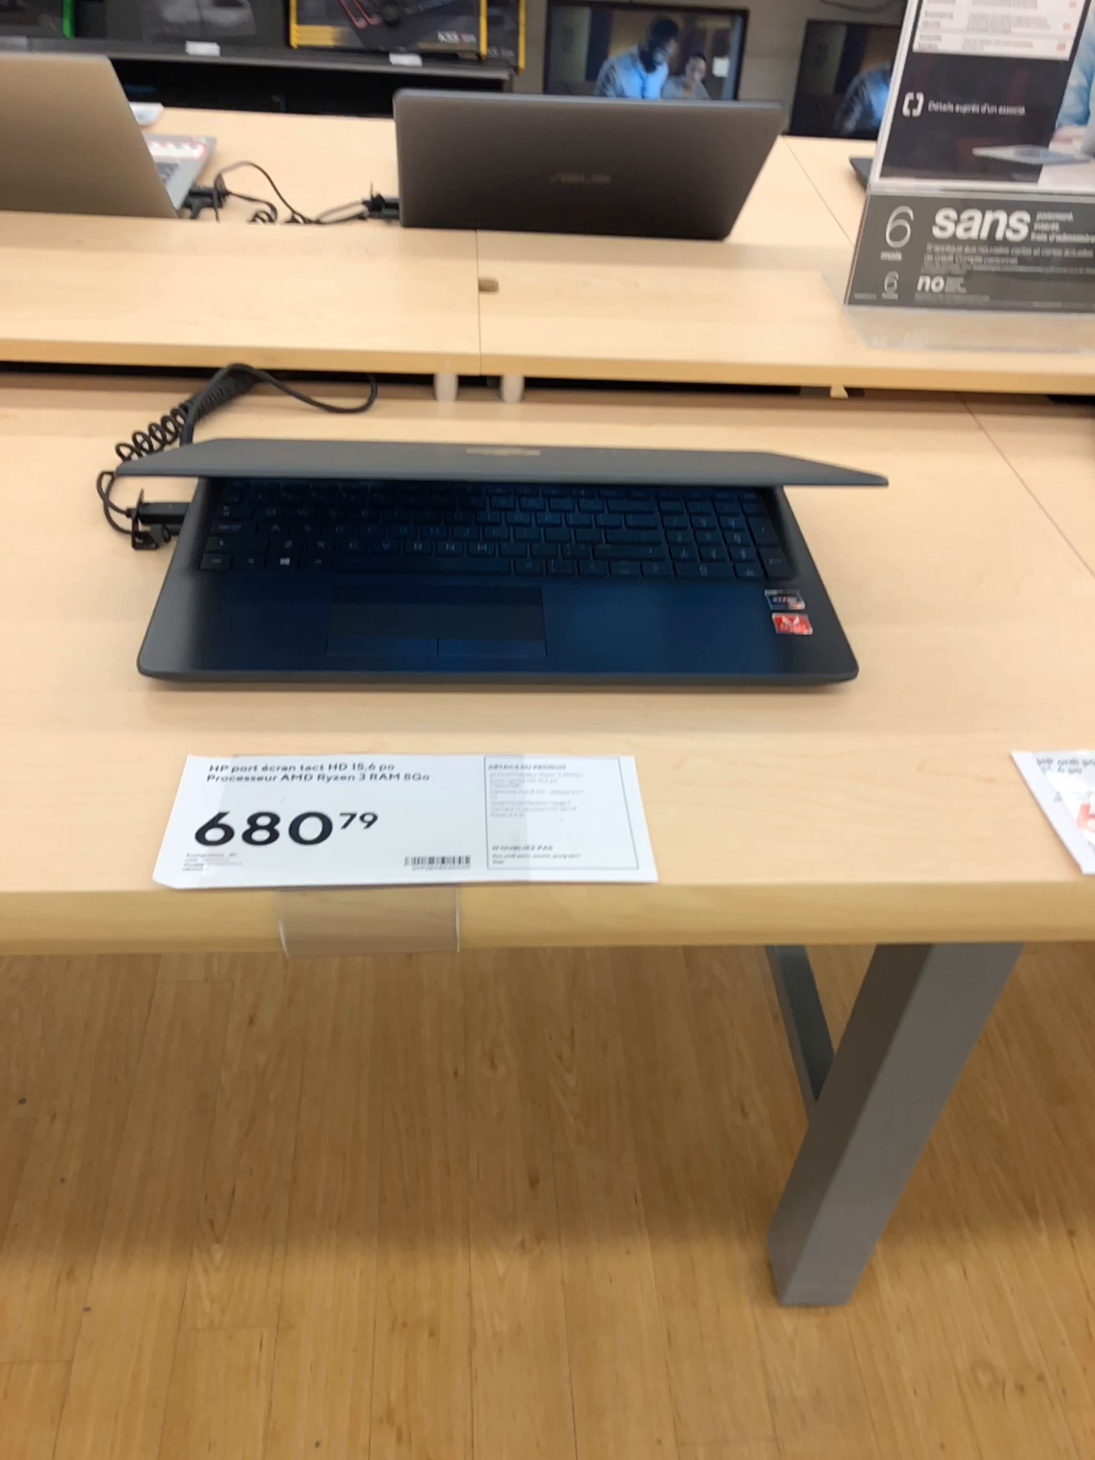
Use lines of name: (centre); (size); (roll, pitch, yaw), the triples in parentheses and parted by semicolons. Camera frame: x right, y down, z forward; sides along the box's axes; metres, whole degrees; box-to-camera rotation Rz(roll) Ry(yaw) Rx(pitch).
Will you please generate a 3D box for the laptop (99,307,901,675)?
laptop: (-0.023, -0.140, 0.671); (0.366, 0.090, 0.243); (0, 40, -6)
